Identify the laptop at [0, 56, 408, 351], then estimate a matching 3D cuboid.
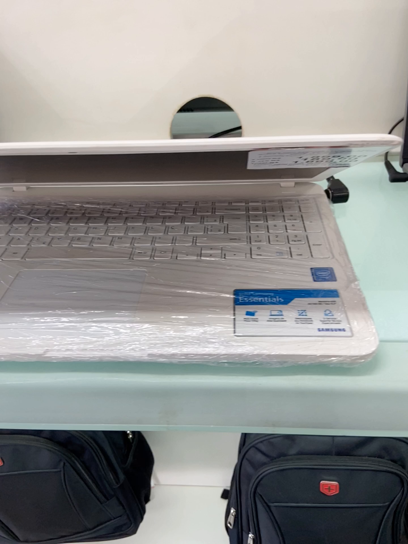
[{"bbox_3d":[-0.072,-0.073,0.343,0.372,0.129,0.248,-1,37,4],"label":"laptop"}]
